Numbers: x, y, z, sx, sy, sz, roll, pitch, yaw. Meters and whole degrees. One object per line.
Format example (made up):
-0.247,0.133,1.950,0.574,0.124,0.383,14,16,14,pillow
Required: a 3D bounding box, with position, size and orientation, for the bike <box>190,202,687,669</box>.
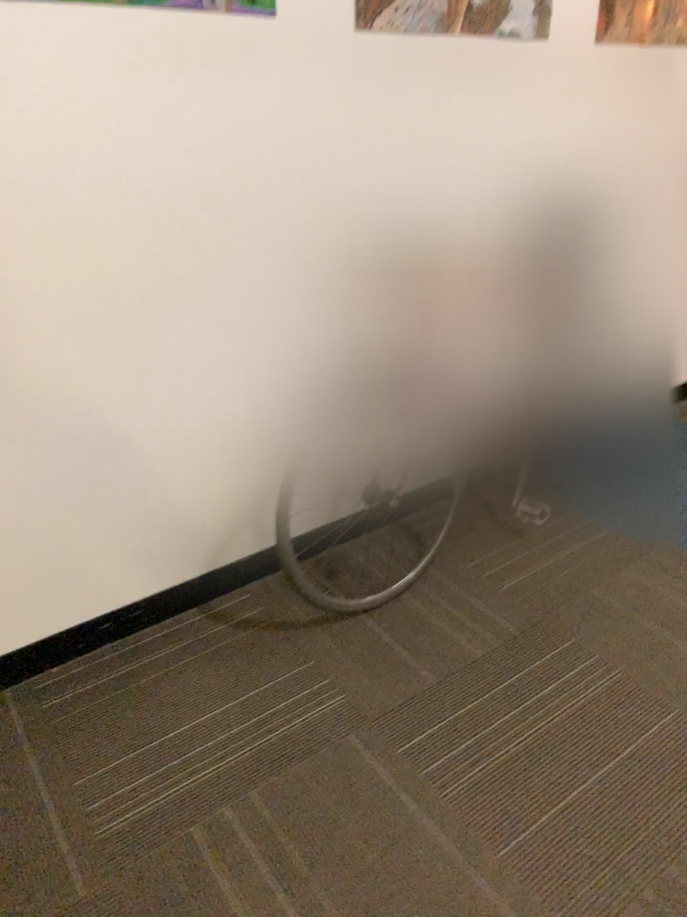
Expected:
0.414,-0.212,2.150,1.629,0.909,0.450,-23,34,-37,bike
